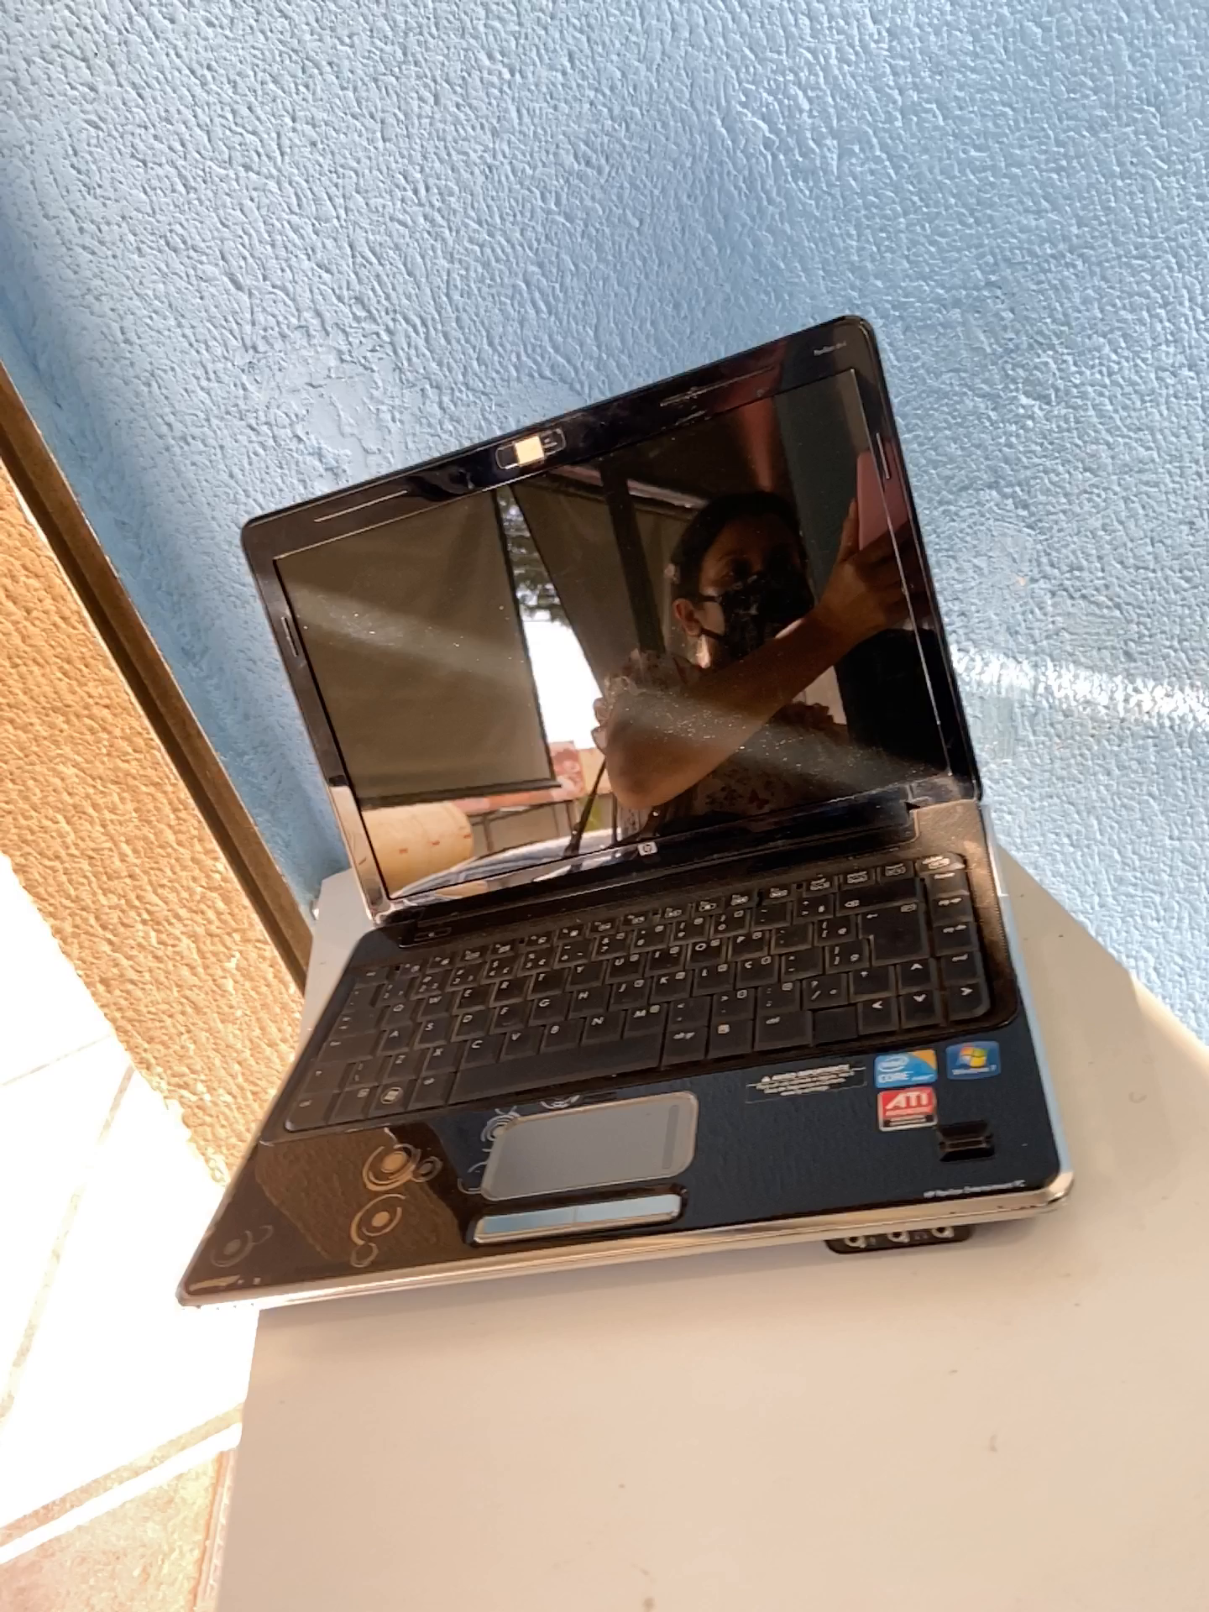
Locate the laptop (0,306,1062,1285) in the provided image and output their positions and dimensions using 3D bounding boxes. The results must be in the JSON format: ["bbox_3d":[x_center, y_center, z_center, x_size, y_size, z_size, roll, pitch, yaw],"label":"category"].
[{"bbox_3d":[-0.024,-0.020,0.511,0.321,0.211,0.303,-13,27,17],"label":"laptop"}]
